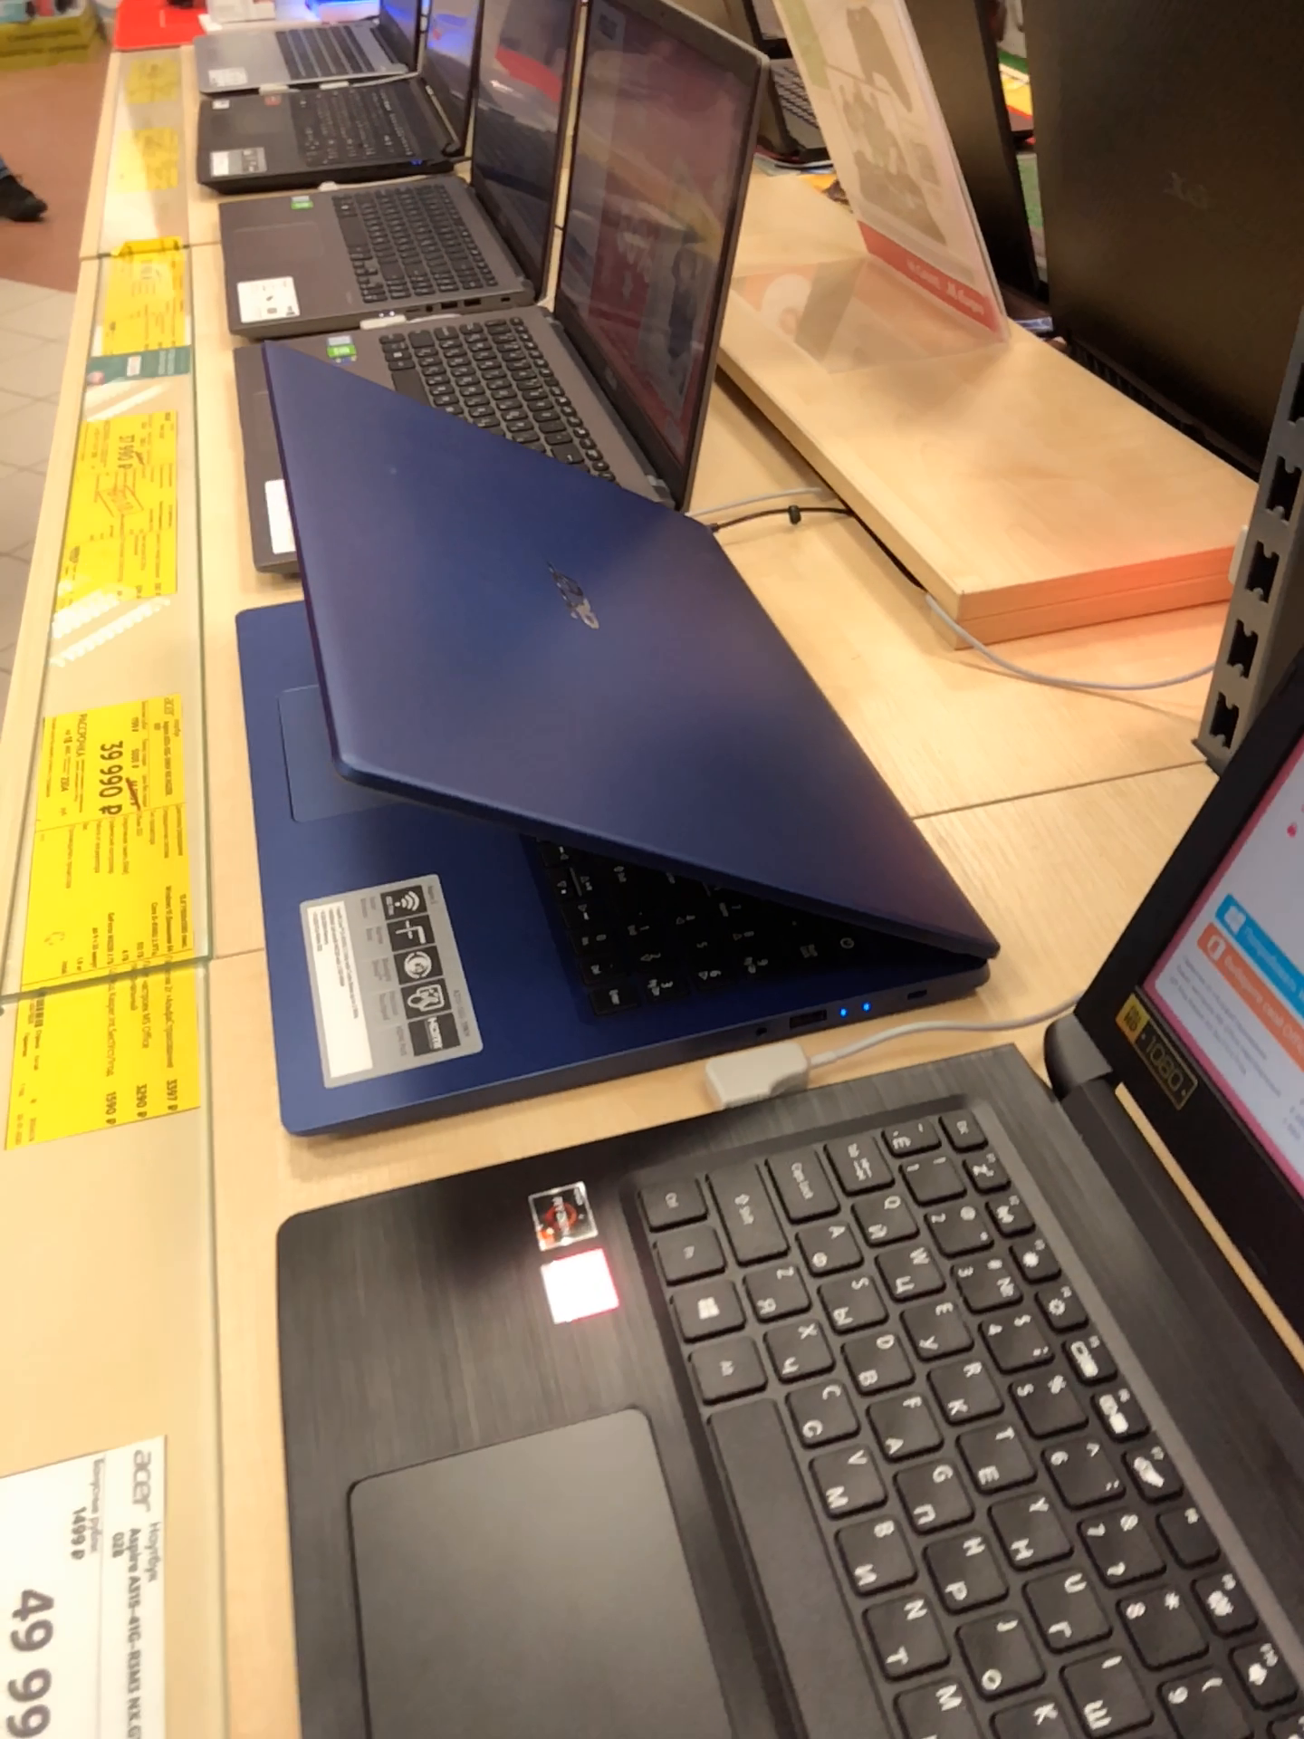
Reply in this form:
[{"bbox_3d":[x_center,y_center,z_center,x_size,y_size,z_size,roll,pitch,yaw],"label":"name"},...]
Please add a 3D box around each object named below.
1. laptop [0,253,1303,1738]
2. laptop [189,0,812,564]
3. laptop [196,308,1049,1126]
[{"bbox_3d":[0.100,0.081,0.238,0.353,0.227,0.359,-10,37,-7],"label":"laptop"},{"bbox_3d":[-0.114,-0.403,0.899,0.302,0.206,0.392,-13,39,-8],"label":"laptop"},{"bbox_3d":[-0.045,-0.098,0.583,0.245,0.126,0.369,-11,38,-9],"label":"laptop"}]
